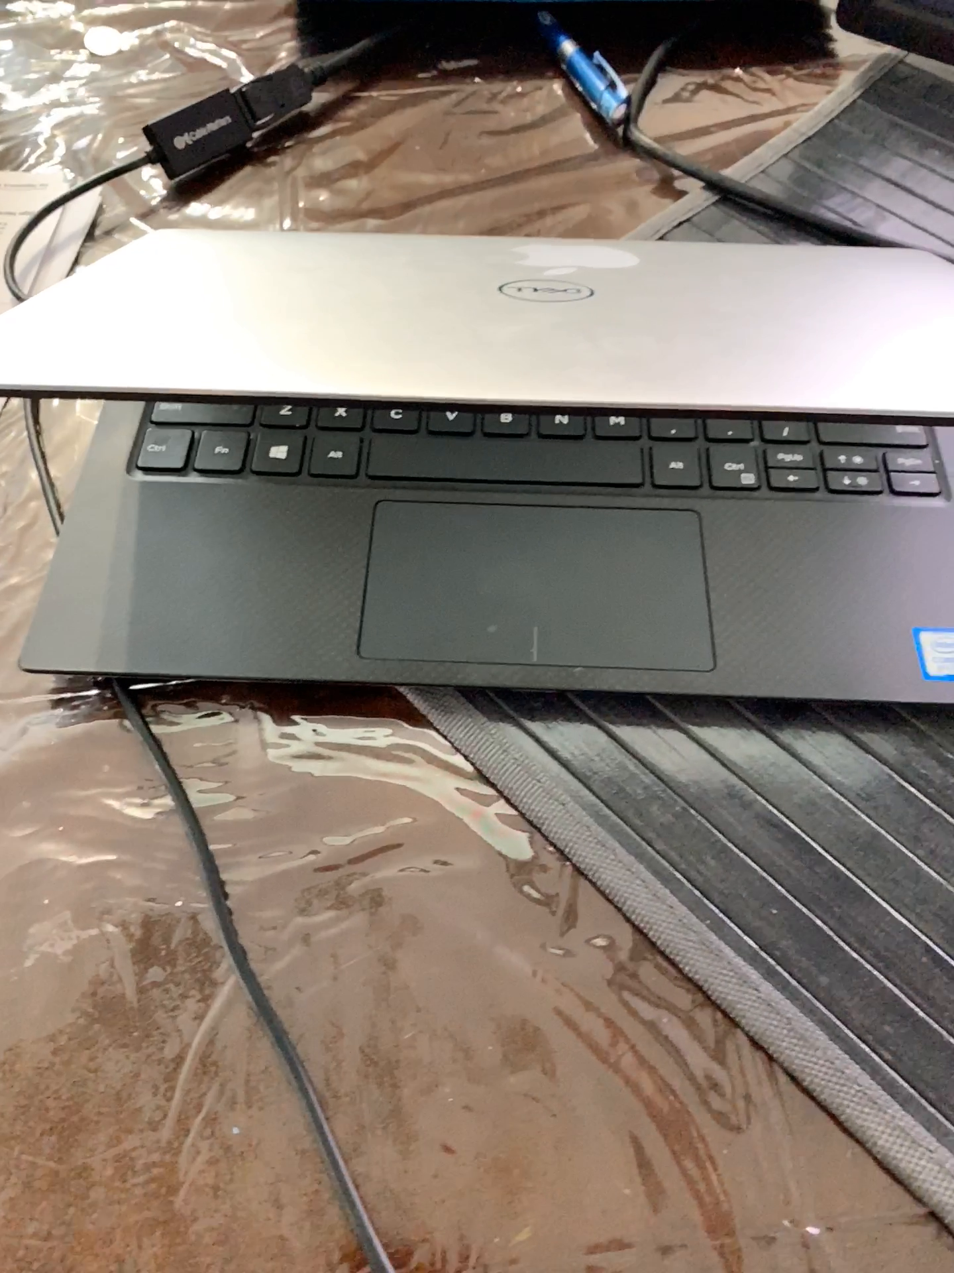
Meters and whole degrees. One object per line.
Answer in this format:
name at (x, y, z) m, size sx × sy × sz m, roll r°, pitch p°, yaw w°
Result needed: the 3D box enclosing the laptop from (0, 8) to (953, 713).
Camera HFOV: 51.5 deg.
laptop at (0.021, -0.086, 0.287) m, size 0.290 × 0.085 × 0.185 m, roll 3°, pitch 57°, yaw 1°
